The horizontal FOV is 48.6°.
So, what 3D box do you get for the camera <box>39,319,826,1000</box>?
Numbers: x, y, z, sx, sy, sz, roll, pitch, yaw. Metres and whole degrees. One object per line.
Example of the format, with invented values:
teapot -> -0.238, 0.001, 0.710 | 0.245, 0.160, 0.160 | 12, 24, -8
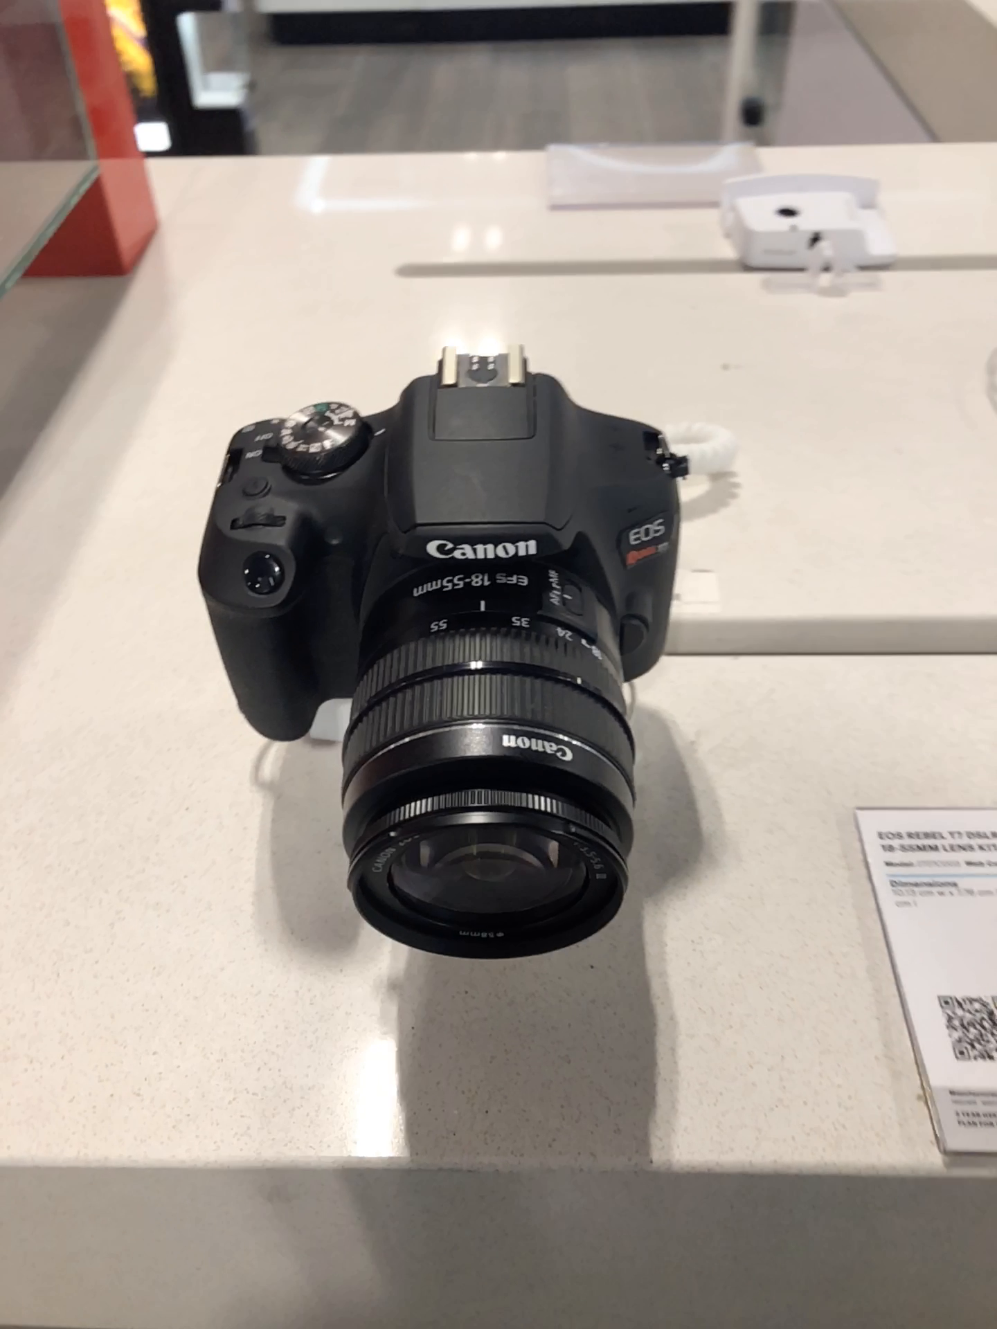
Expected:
camera -> -0.012, -0.009, 0.282 | 0.140, 0.089, 0.151 | -2, 43, 0
